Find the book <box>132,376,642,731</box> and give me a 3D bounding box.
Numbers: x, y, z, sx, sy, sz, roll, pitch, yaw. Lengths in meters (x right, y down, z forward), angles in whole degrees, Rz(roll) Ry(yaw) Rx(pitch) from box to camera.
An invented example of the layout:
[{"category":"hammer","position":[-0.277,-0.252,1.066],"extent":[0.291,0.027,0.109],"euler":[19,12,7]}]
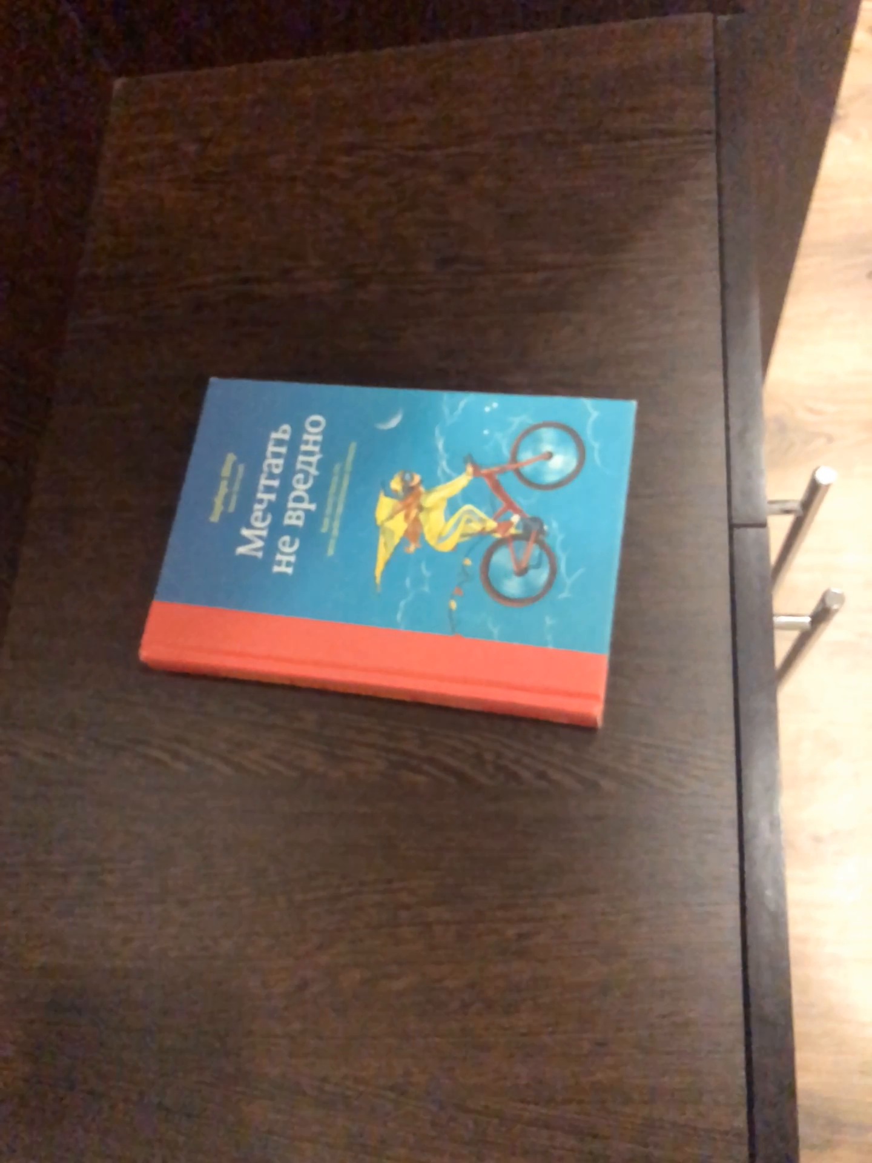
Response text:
[{"category":"book","position":[-0.020,-0.019,0.445],"extent":[0.211,0.025,0.145],"euler":[5,73,12]}]
